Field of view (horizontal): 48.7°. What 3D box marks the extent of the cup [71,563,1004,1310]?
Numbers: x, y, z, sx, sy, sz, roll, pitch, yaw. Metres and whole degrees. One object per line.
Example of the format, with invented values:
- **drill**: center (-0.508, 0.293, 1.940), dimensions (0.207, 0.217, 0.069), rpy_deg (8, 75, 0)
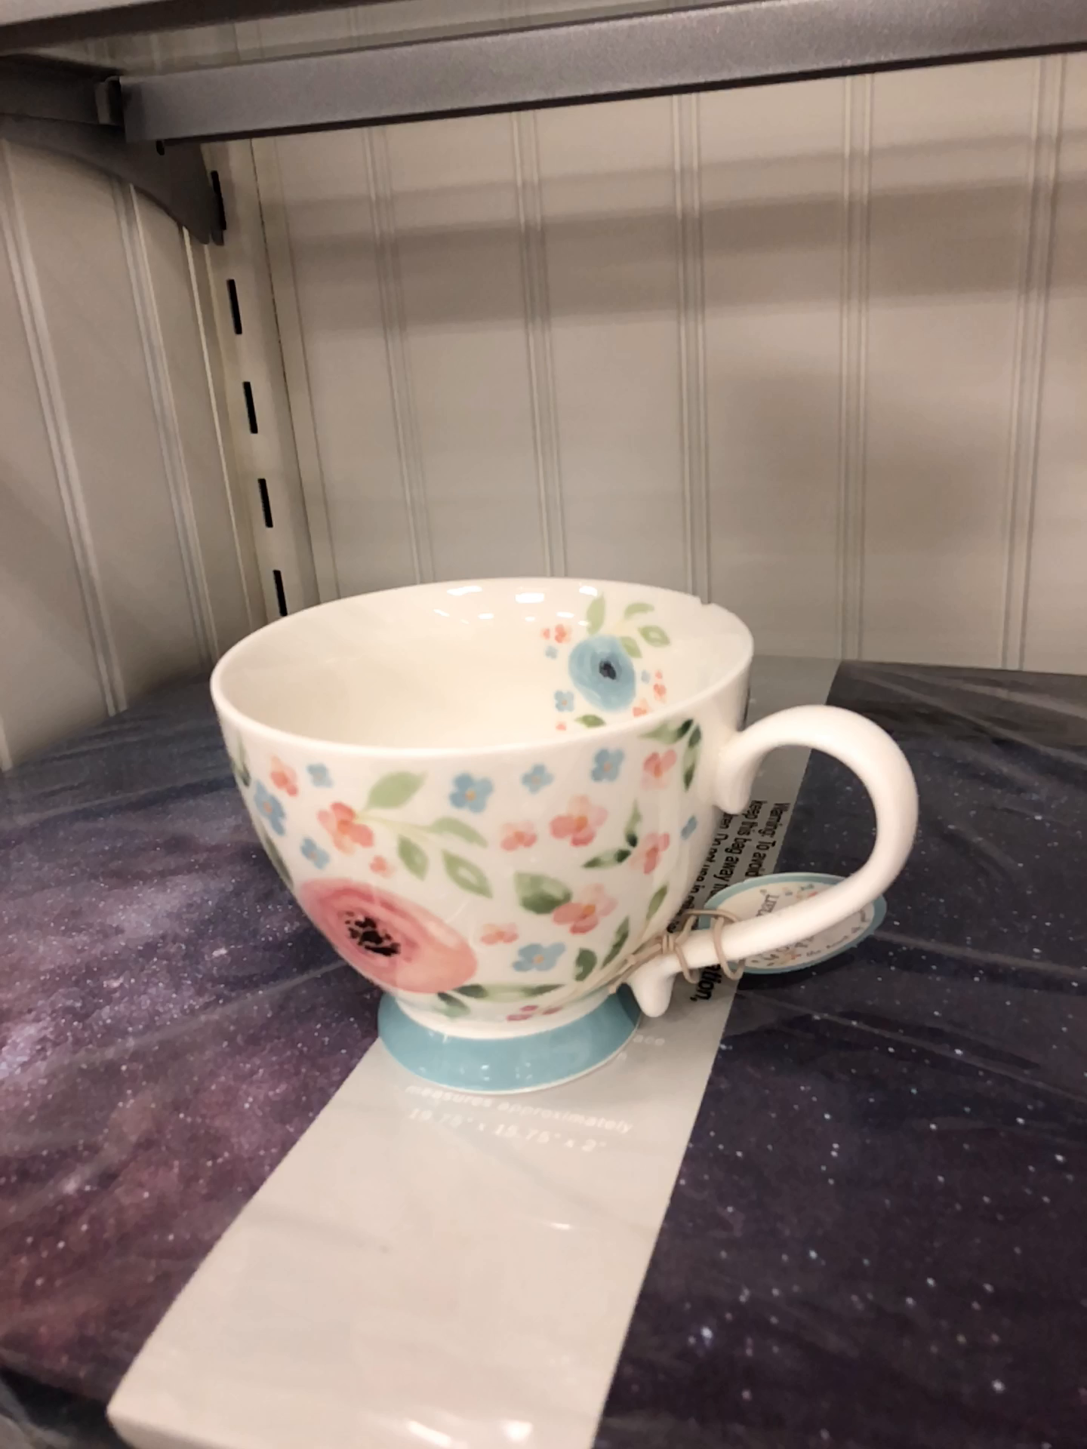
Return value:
- **cup**: center (0.004, 0.024, 0.252), dimensions (0.150, 0.079, 0.111), rpy_deg (9, 25, 30)
